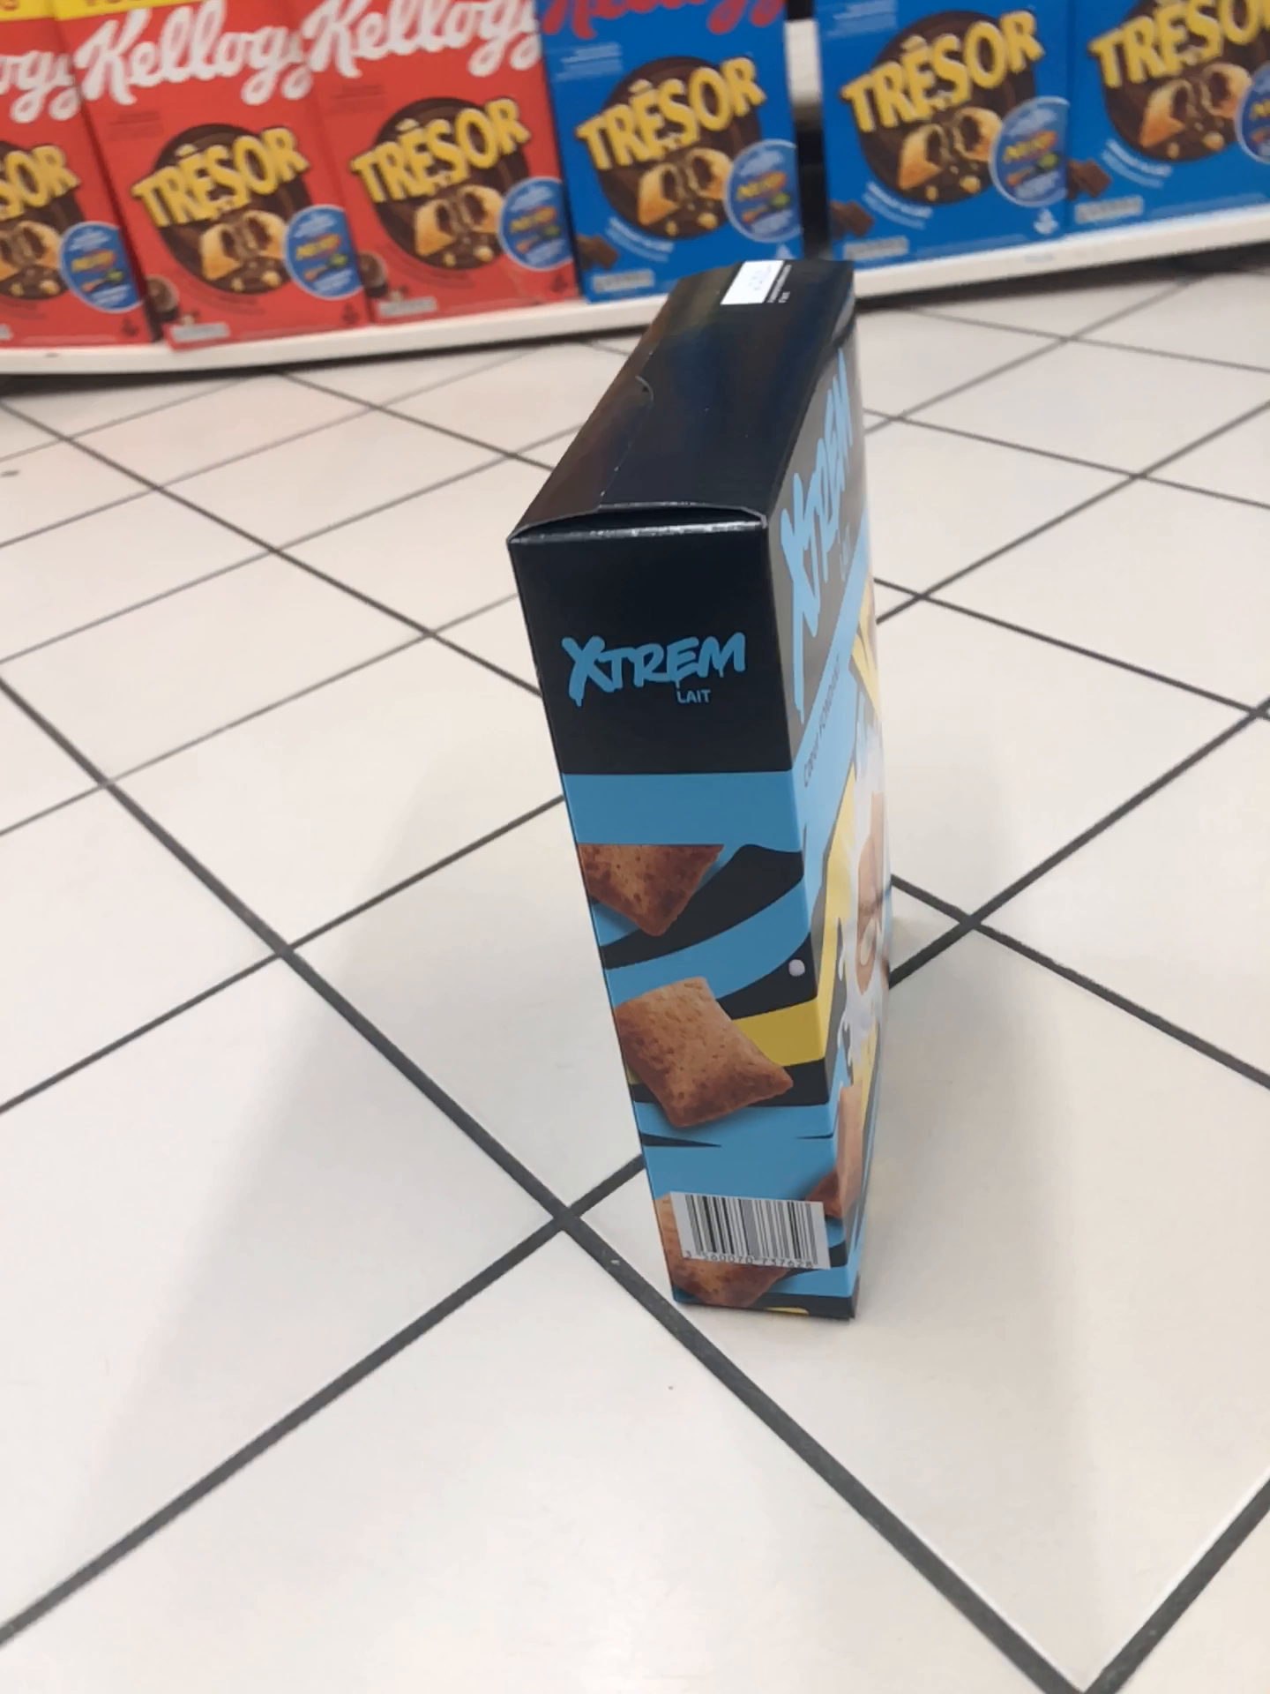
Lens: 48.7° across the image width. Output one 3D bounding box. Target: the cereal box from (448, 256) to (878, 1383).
[{"bbox_3d":[0.031,-0.011,0.415,0.060,0.258,0.201,1,36,14],"label":"cereal box"}]
